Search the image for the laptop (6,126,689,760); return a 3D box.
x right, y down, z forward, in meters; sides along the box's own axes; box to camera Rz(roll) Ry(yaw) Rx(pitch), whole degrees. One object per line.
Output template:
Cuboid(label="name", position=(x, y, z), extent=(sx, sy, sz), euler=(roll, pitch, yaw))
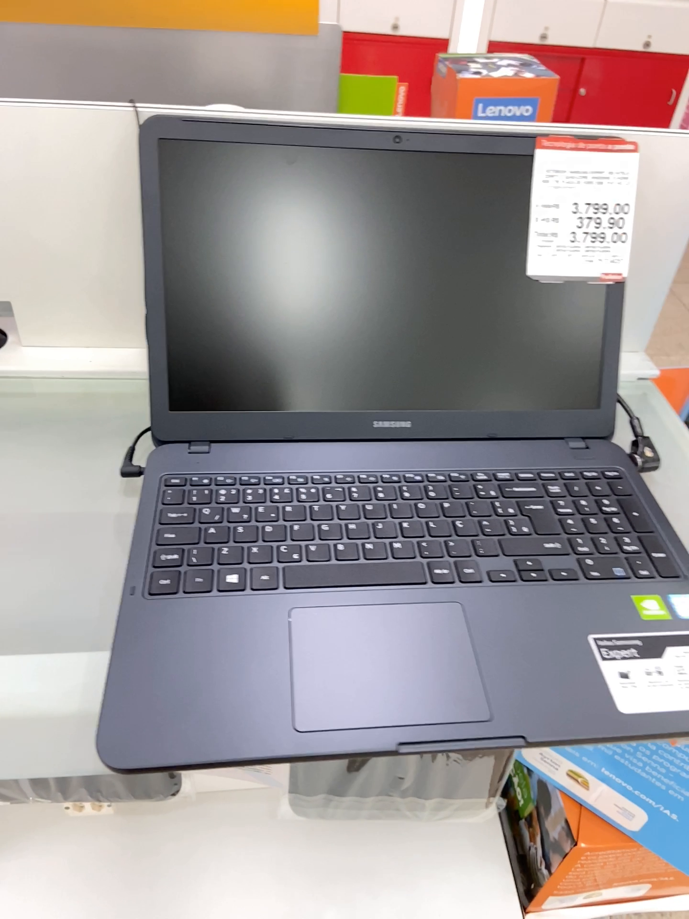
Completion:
Cuboid(label="laptop", position=(0.052, -0.047, 0.451), extent=(0.371, 0.192, 0.371), euler=(-1, 41, -6))
